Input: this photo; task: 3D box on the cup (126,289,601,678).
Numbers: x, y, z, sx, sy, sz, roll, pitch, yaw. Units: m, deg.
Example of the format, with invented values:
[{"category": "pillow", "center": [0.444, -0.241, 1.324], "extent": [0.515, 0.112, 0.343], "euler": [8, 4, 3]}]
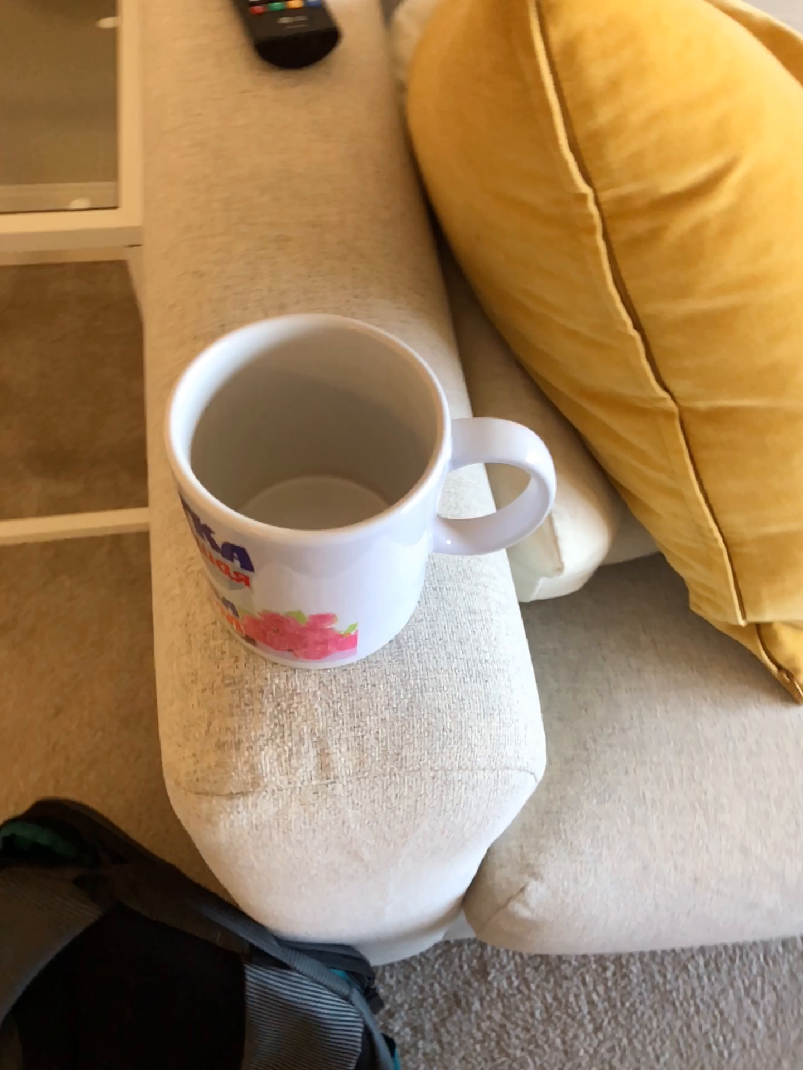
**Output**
[{"category": "cup", "center": [-0.014, -0.013, 0.289], "extent": [0.120, 0.100, 0.080], "euler": [-2, 59, -5]}]
